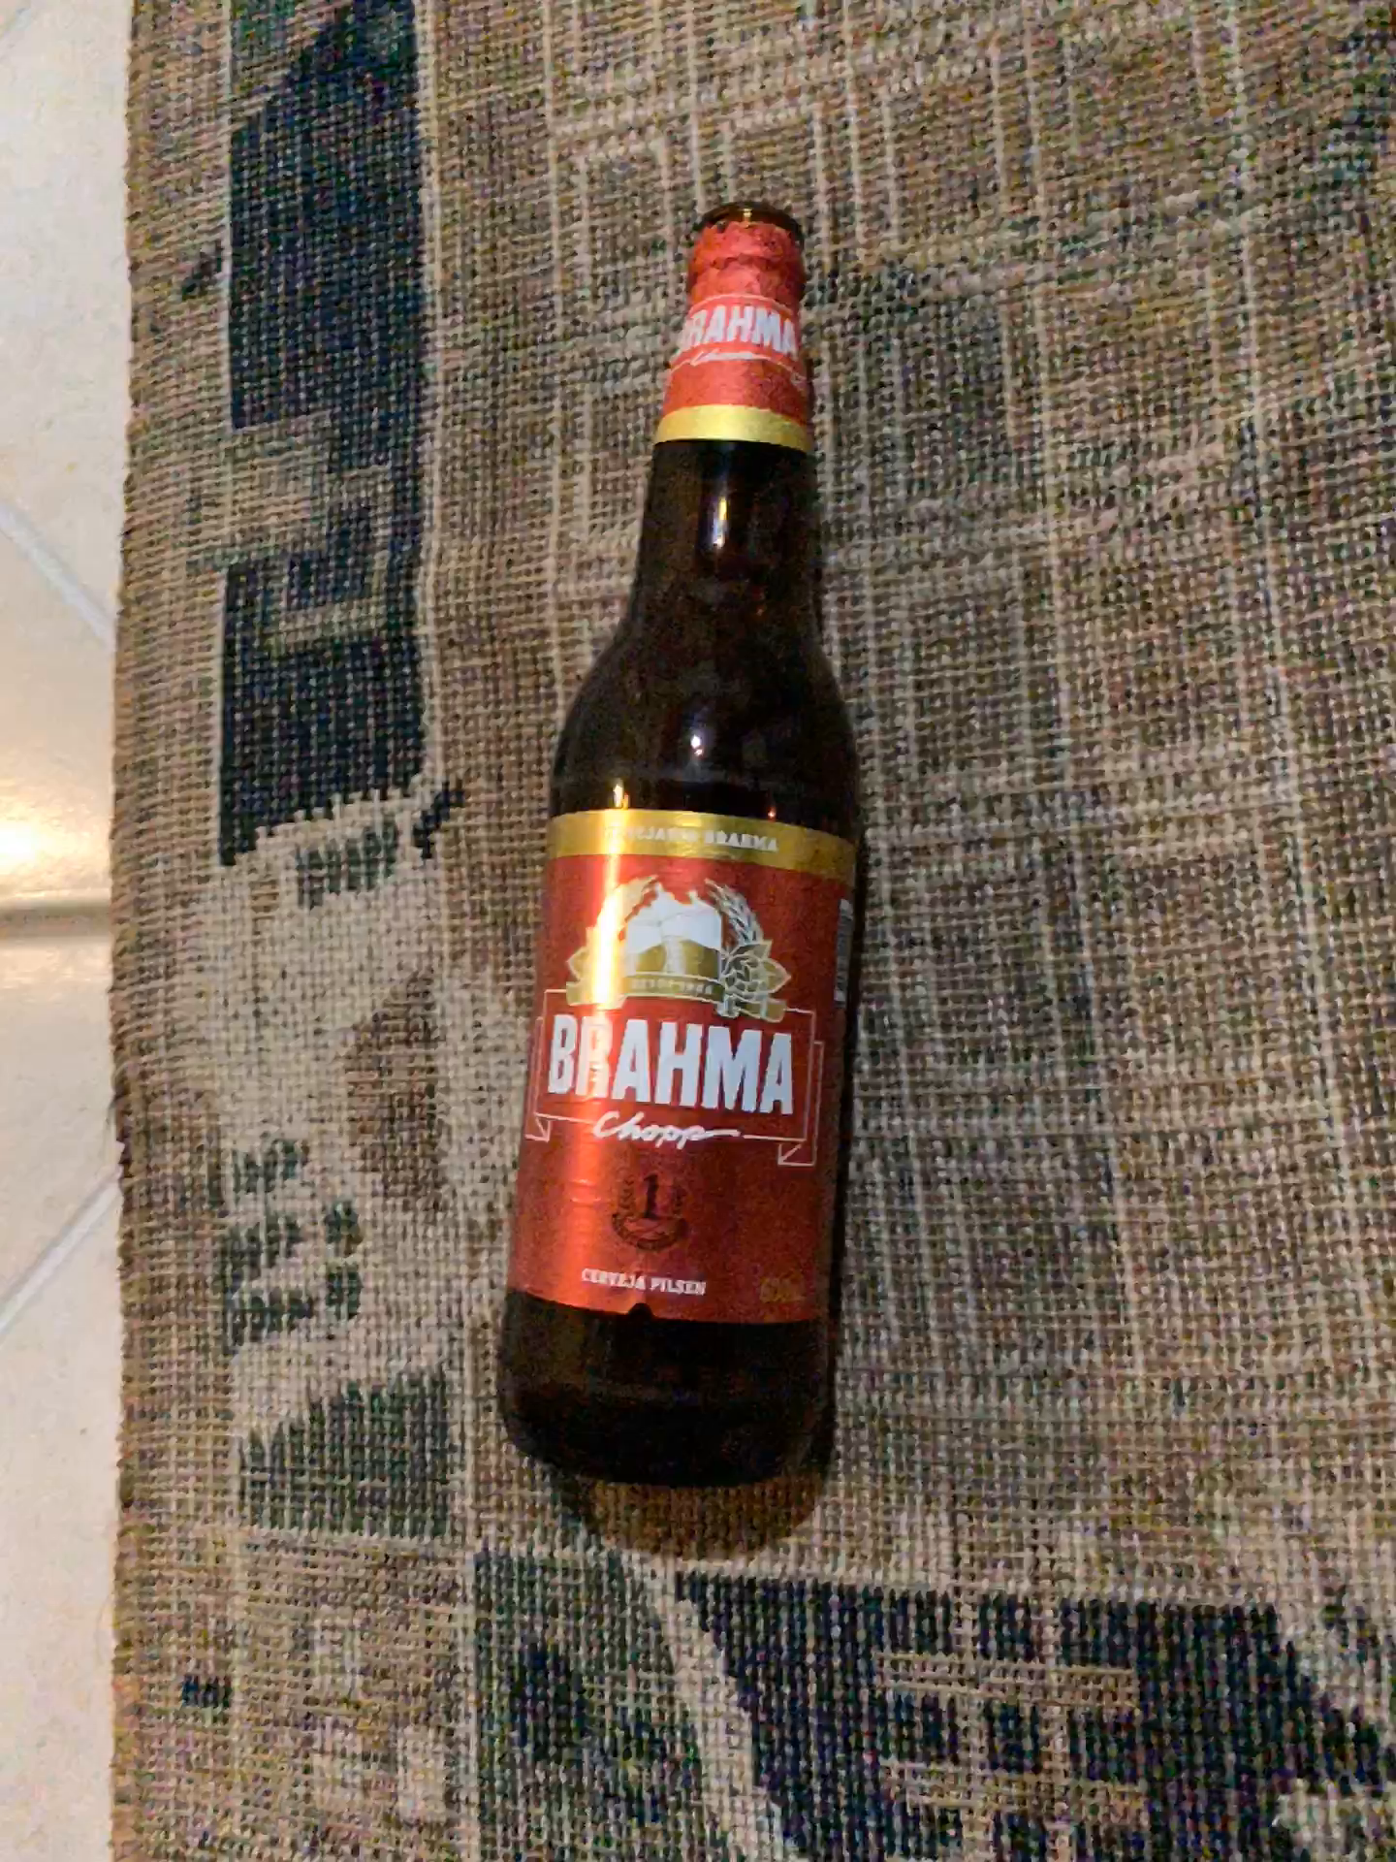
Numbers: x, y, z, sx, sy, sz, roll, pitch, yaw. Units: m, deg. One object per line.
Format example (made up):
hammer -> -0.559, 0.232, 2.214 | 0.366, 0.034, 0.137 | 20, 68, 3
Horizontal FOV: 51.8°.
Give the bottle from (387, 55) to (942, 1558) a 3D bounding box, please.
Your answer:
bottle -> 0.000, -0.029, 0.301 | 0.080, 0.060, 0.280 | 3, 83, 14
